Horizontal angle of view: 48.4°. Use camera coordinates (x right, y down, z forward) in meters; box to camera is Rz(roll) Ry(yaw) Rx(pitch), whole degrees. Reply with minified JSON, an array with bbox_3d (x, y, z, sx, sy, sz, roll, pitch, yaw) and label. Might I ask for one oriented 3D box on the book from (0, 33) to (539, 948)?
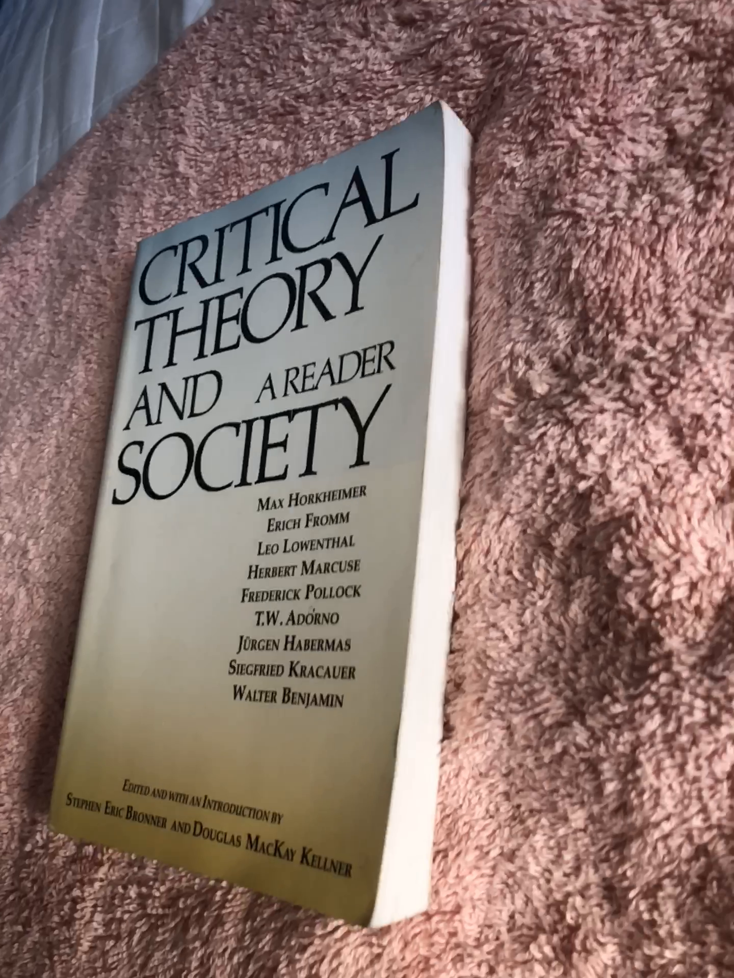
[{"bbox_3d":[-0.037,-0.003,0.265,0.171,0.050,0.230,-7,70,36],"label":"book"}]
